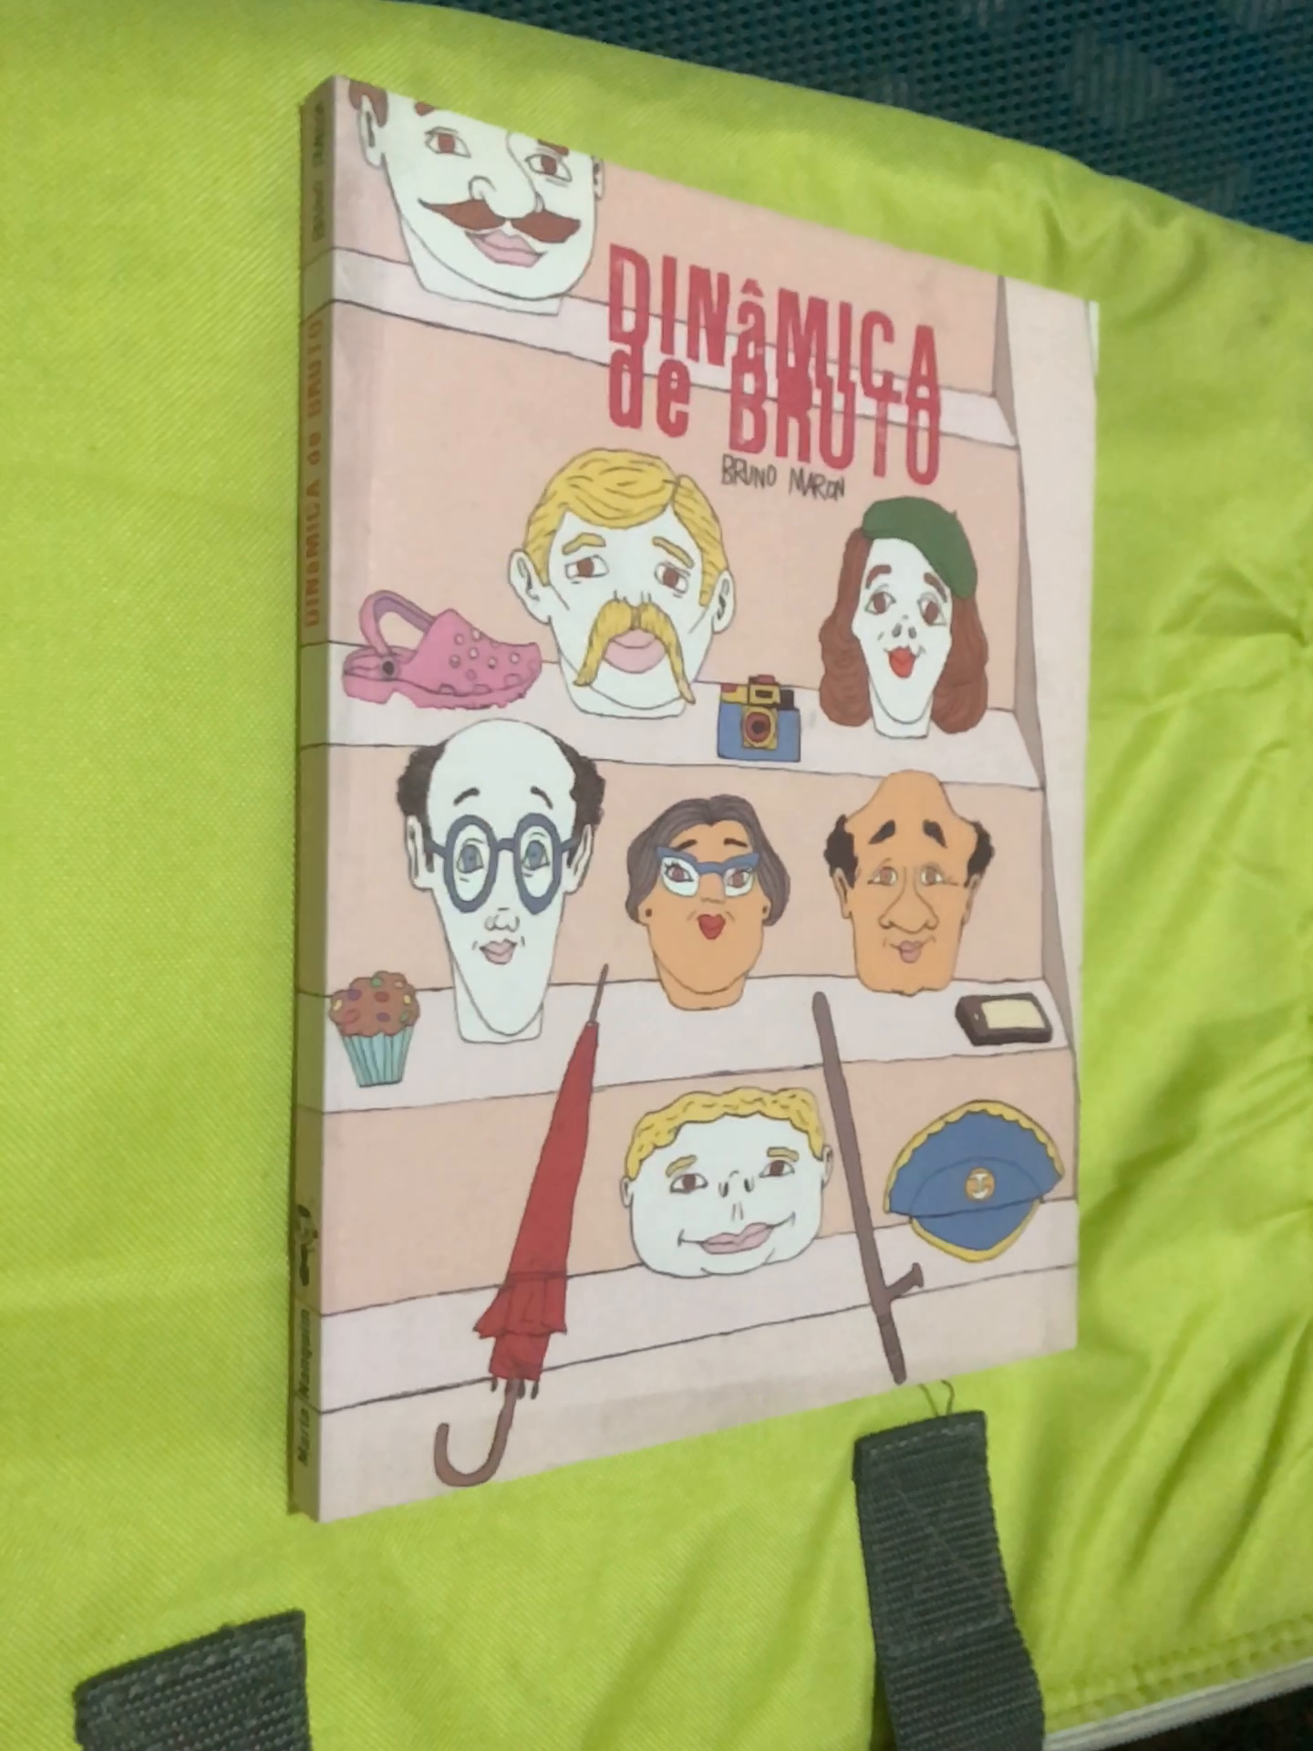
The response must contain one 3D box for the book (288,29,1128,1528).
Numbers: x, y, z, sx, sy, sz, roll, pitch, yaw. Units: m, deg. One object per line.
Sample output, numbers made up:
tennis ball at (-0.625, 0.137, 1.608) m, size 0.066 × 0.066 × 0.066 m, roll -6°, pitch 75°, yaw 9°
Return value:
book at (0.020, -0.015, 0.287) m, size 0.179 × 0.020 × 0.239 m, roll 0°, pitch 91°, yaw -30°
